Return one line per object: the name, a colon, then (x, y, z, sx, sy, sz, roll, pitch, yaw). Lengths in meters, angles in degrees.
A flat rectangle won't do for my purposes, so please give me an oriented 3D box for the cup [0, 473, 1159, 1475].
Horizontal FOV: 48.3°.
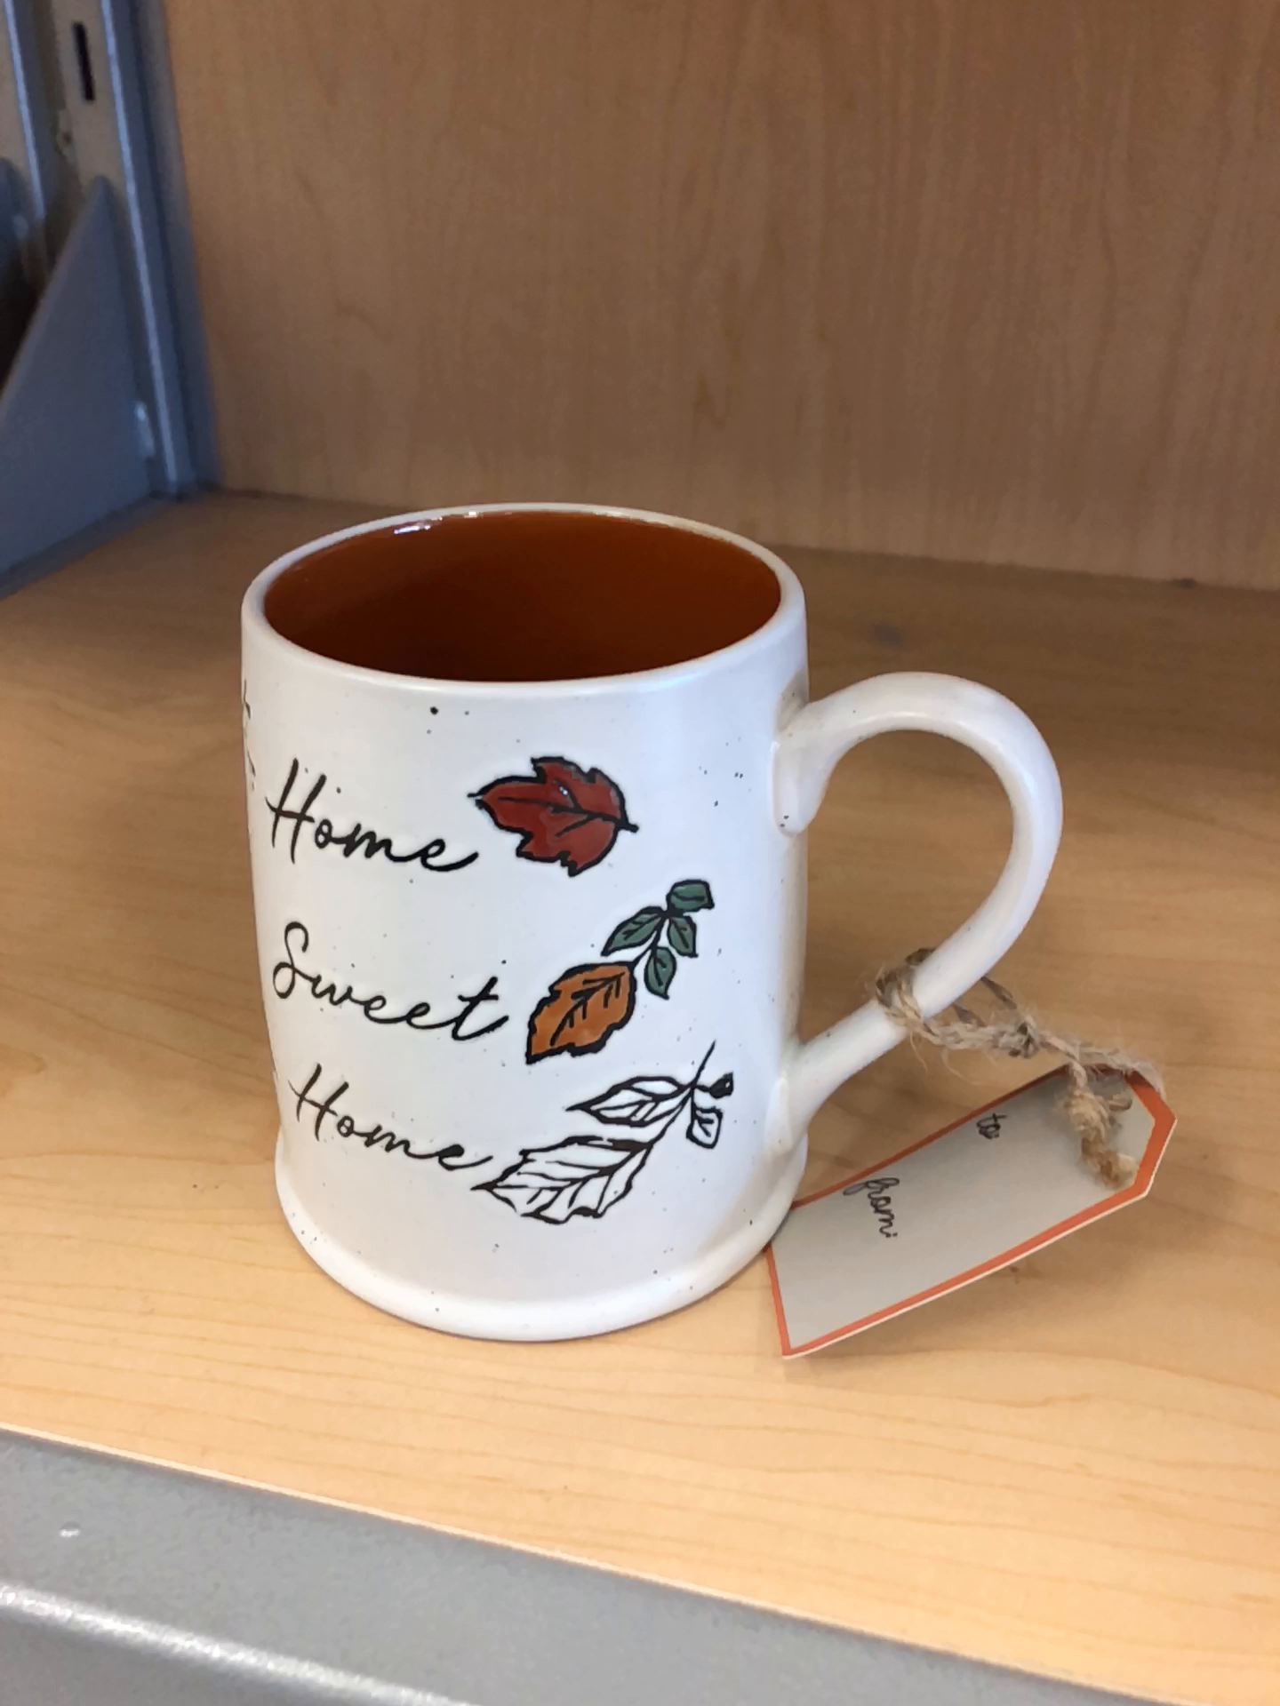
cup: (-0.004, 0.010, 0.205, 0.125, 0.099, 0.081, 7, 31, 10)
